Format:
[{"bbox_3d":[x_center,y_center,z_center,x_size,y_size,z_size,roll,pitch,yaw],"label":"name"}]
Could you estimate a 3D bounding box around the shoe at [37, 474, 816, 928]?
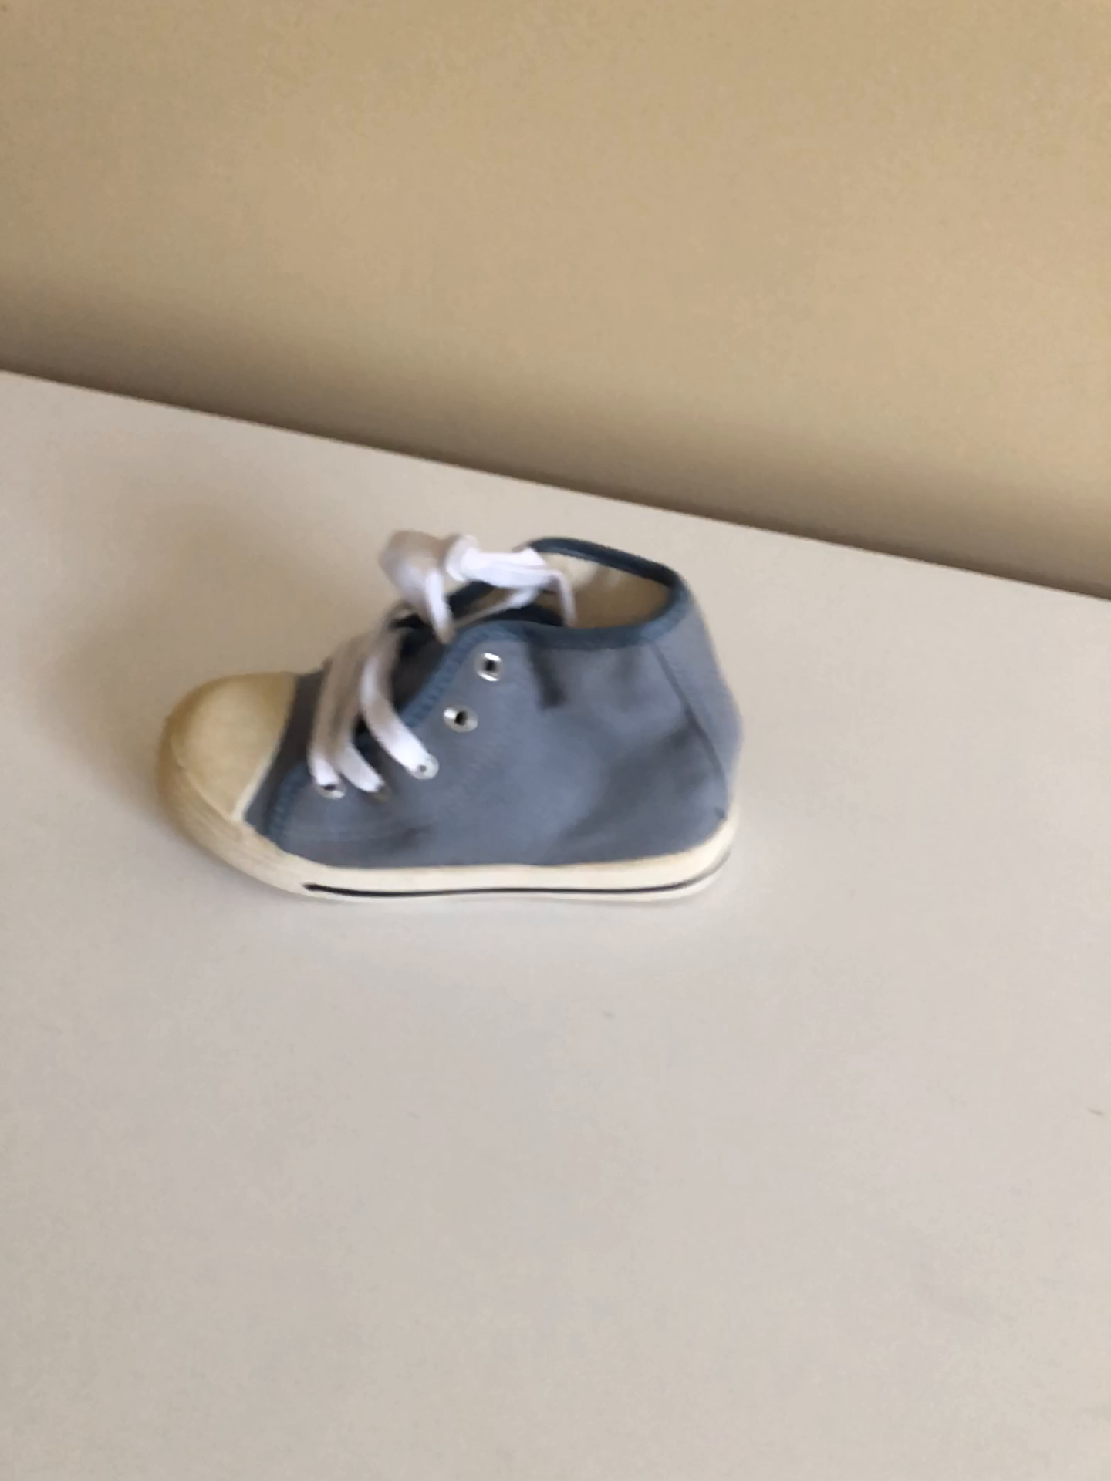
[{"bbox_3d":[-0.031,-0.010,0.364,0.190,0.099,0.080,2,46,1],"label":"shoe"}]
